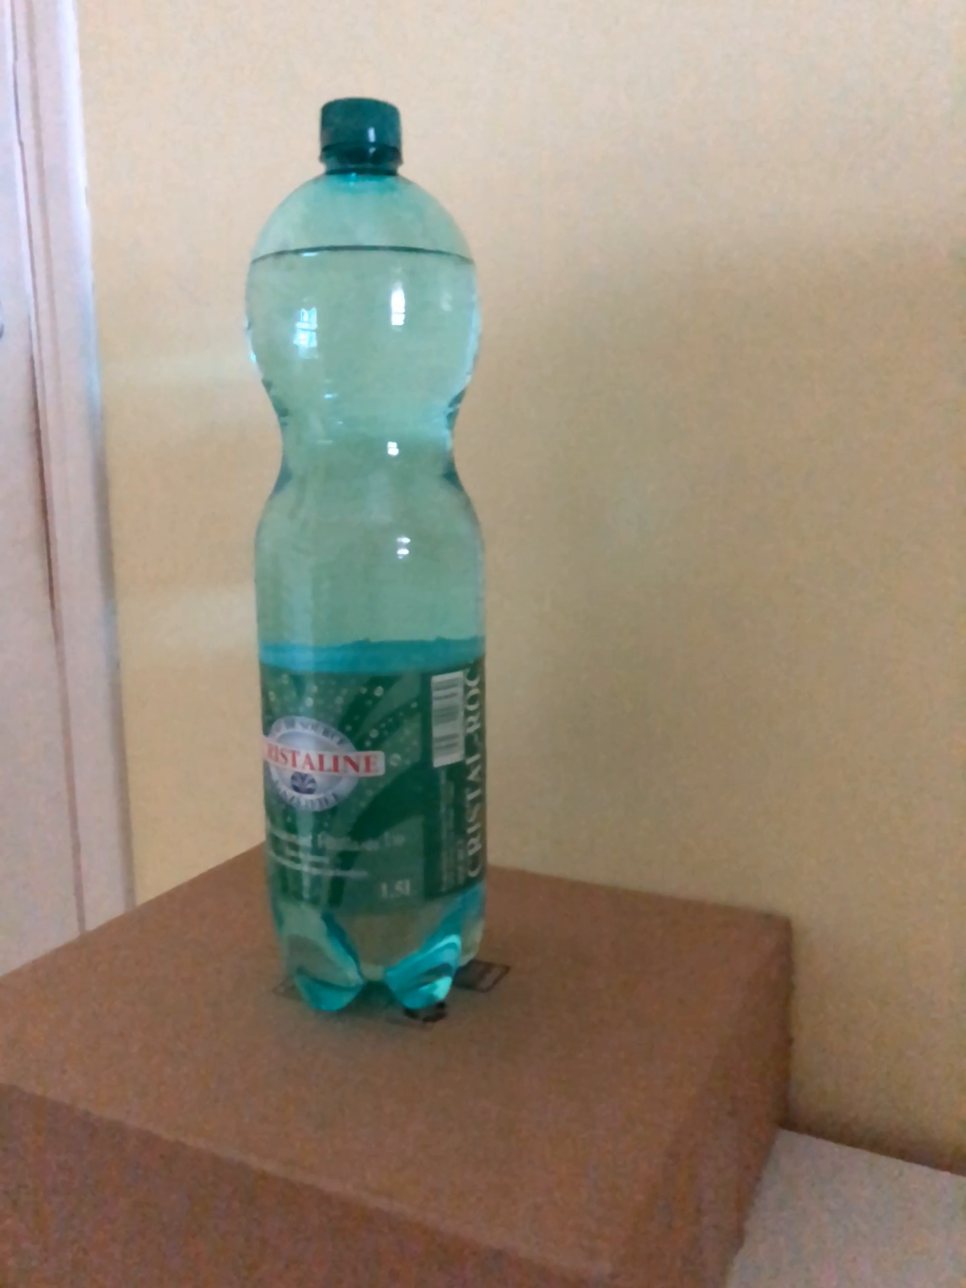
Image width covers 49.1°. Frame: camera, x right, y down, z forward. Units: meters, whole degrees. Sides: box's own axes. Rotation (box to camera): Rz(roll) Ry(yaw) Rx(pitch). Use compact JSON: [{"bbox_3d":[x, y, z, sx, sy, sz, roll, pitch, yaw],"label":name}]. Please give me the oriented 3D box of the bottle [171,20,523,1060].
[{"bbox_3d":[-0.046,-0.031,0.404,0.090,0.339,0.080,4,10,33],"label":"bottle"}]
